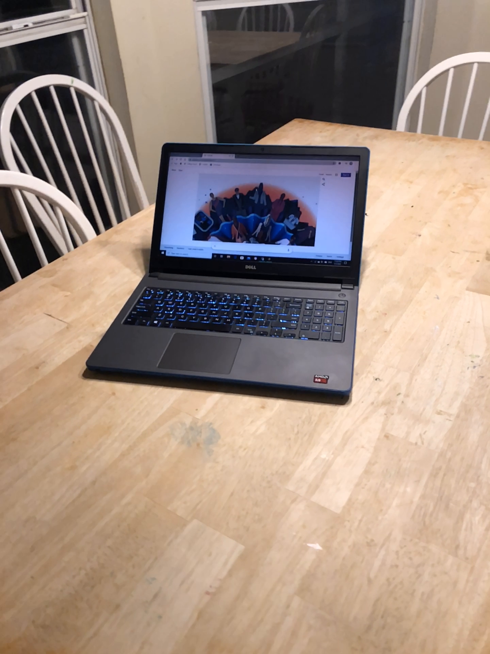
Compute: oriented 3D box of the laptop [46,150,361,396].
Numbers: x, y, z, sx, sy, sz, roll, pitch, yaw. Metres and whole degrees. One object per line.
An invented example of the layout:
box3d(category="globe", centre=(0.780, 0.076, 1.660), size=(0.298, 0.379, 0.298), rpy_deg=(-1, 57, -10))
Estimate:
box3d(category="laptop", centre=(-0.017, -0.119, 0.835), size=(0.367, 0.174, 0.421), rpy_deg=(4, 36, 11))
